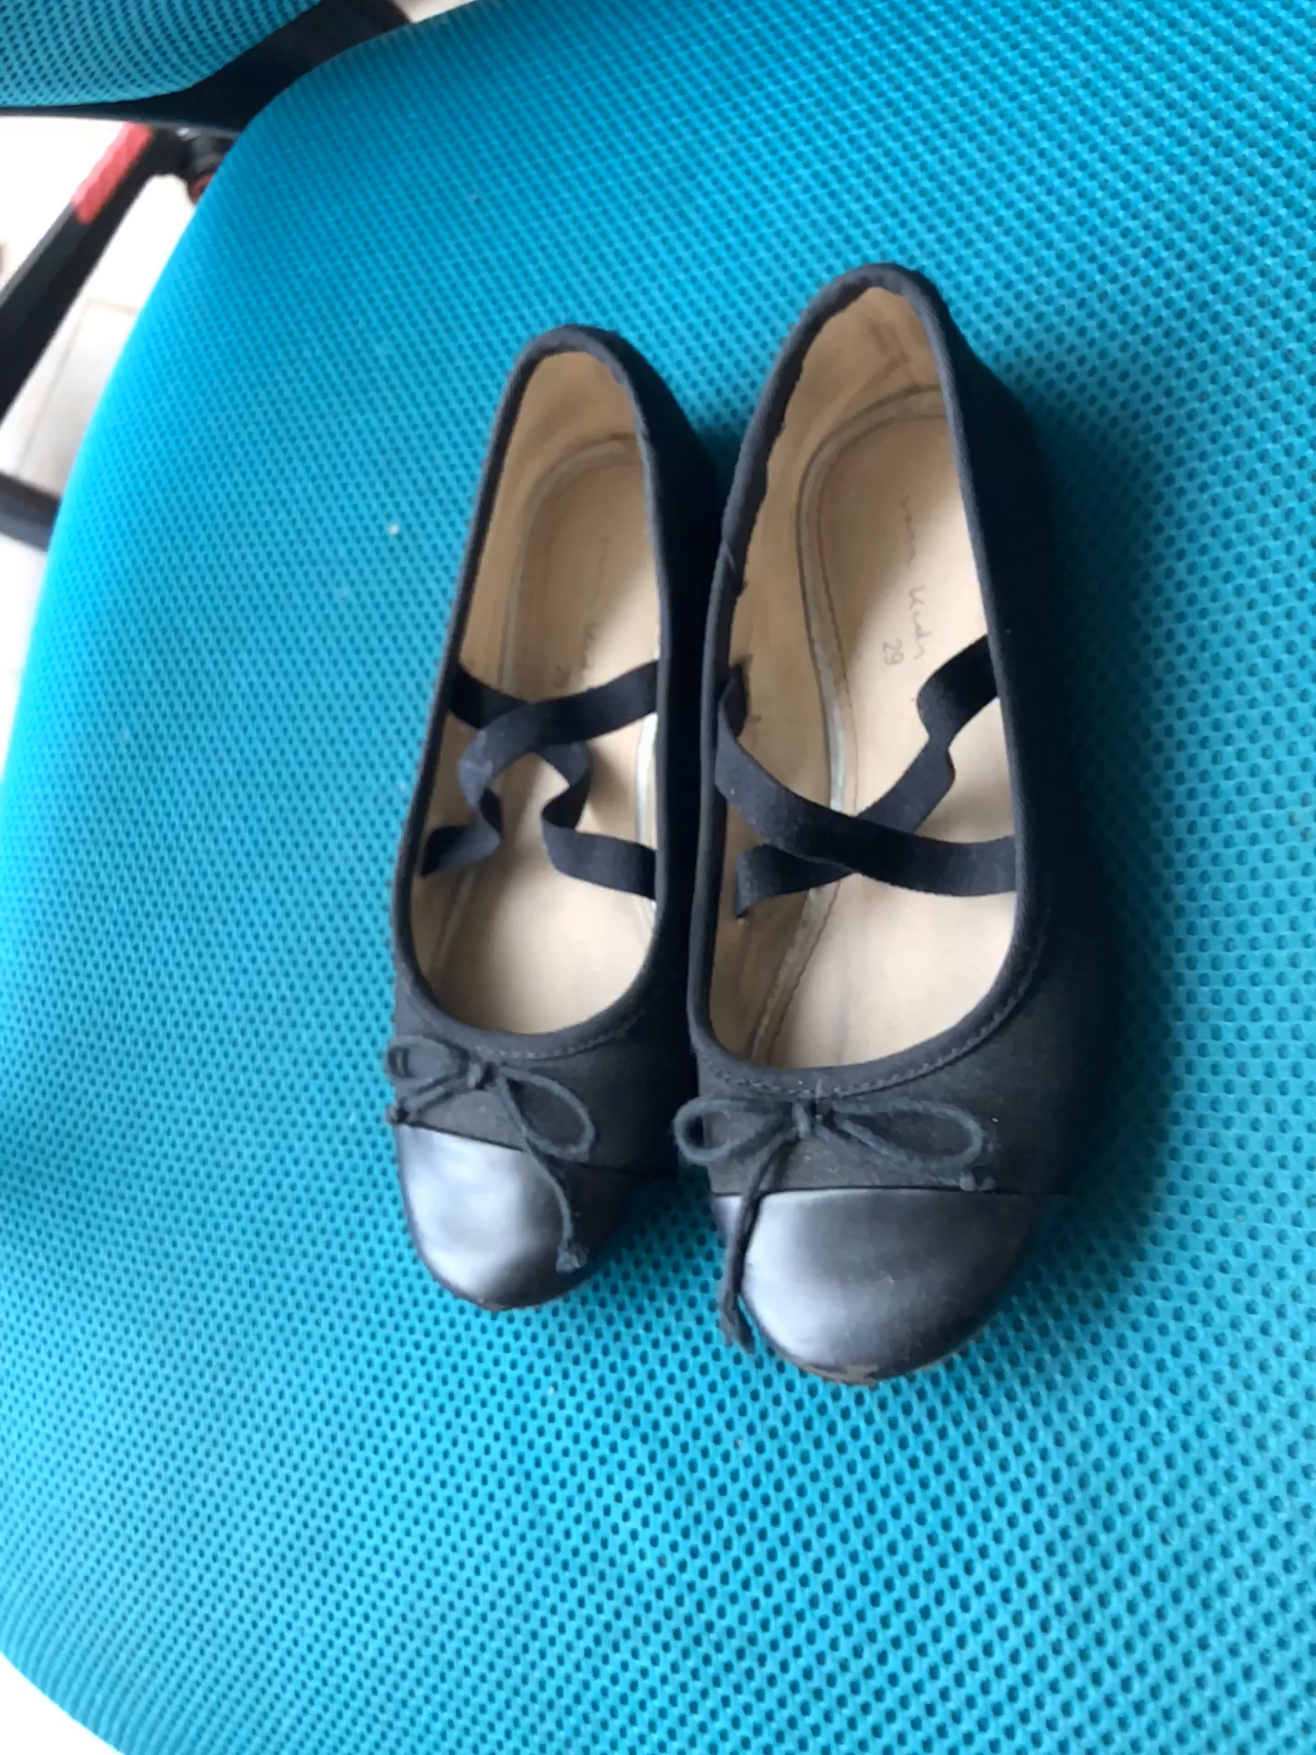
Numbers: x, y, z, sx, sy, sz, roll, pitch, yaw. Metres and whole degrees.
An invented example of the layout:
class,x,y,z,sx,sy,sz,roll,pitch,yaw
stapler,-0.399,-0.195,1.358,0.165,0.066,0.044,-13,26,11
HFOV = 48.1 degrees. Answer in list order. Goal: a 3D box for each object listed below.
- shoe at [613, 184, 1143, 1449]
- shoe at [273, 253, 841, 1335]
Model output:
class,x,y,z,sx,sy,sz,roll,pitch,yaw
shoe,0.042,-0.010,0.254,0.069,0.050,0.190,-3,77,32
shoe,-0.017,-0.015,0.298,0.081,0.050,0.194,-1,78,32
